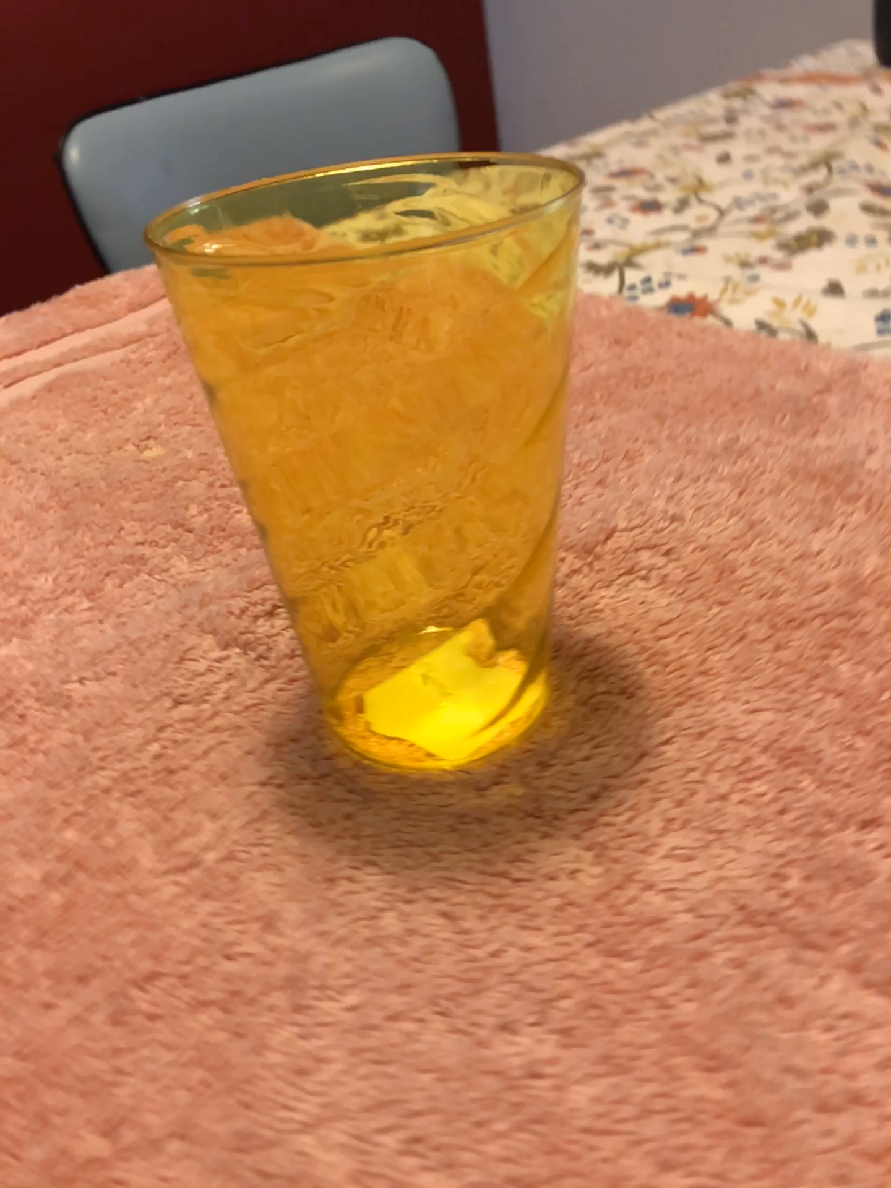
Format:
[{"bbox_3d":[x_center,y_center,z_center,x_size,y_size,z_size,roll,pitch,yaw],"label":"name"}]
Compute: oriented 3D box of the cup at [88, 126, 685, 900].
[{"bbox_3d":[-0.009,-0.021,0.207,0.080,0.119,0.081,-7,34,5],"label":"cup"}]
